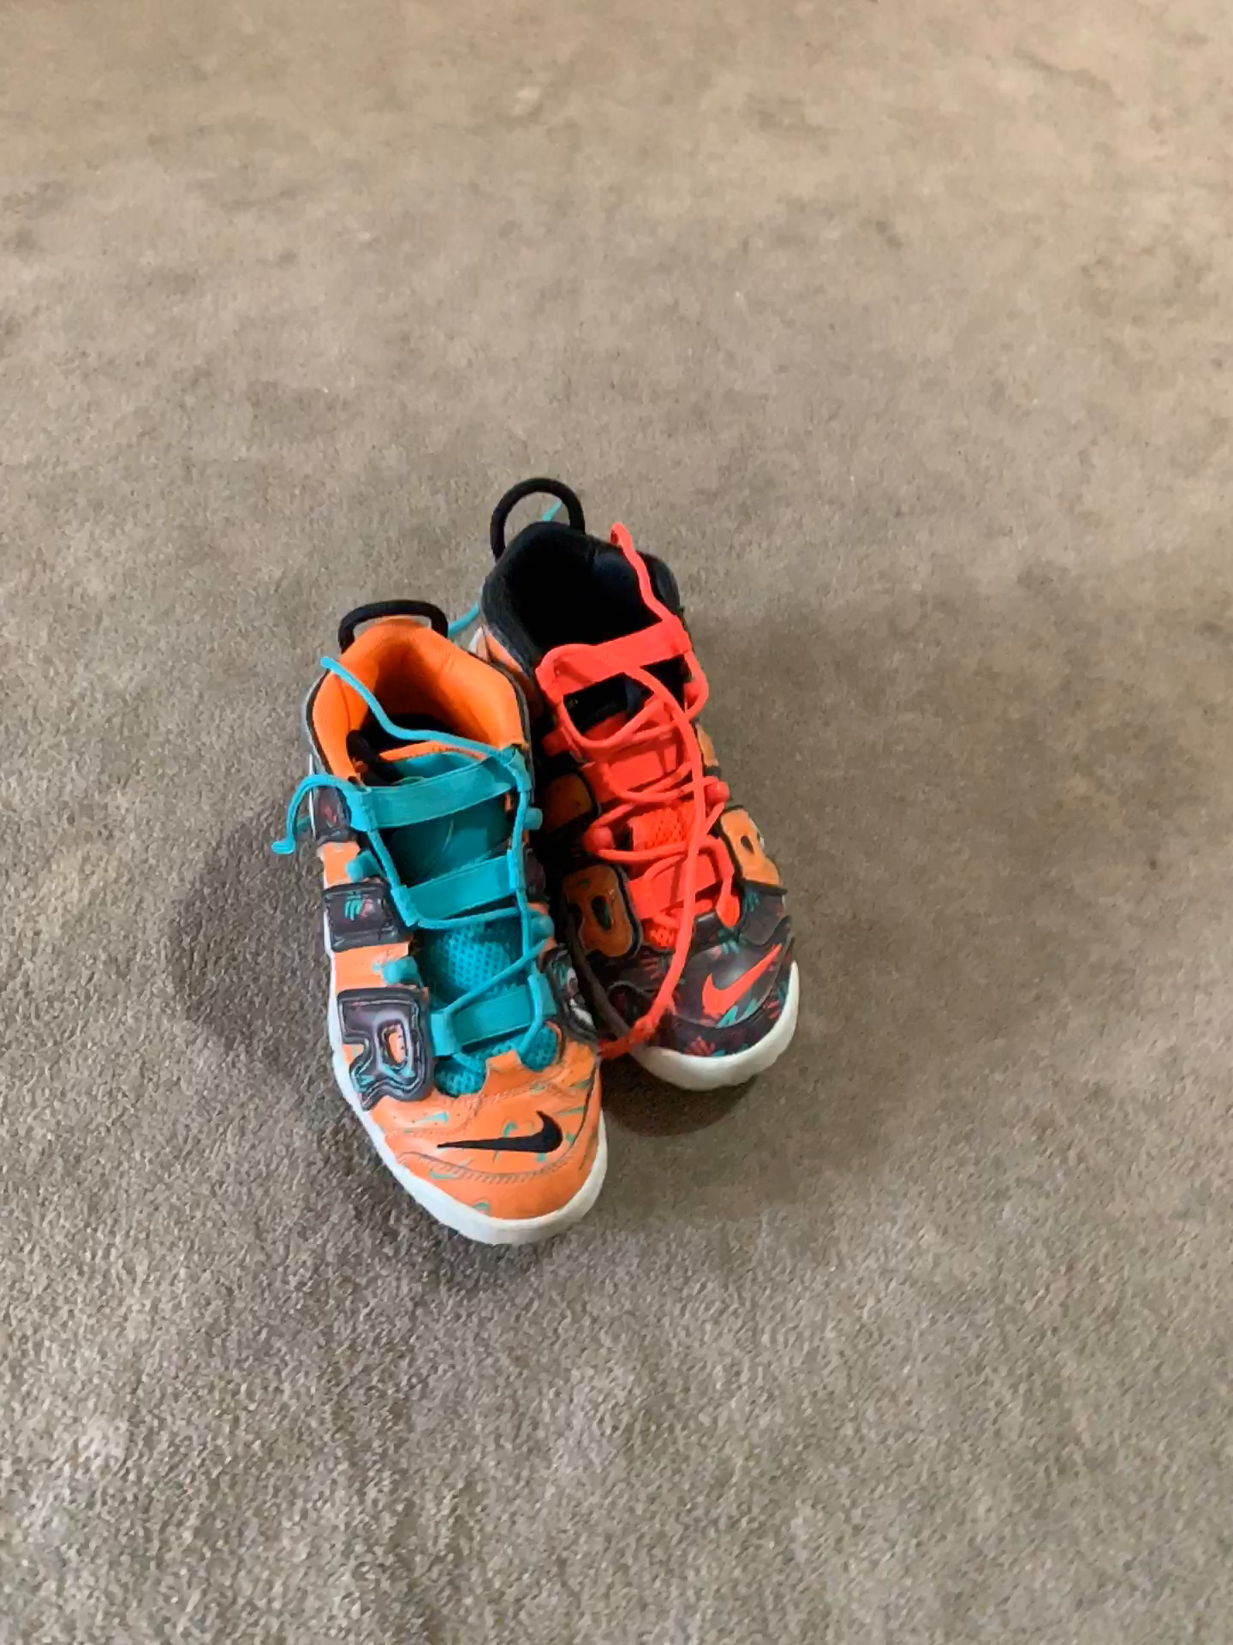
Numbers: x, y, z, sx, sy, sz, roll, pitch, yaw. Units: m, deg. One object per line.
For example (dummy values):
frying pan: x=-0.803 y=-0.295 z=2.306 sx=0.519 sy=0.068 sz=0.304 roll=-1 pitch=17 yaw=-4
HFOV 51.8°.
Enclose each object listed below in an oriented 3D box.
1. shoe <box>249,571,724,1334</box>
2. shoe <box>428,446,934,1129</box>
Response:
shoe: x=-0.055 y=0.044 z=0.473 sx=0.100 sy=0.089 sz=0.251 roll=-14 pitch=68 yaw=-12
shoe: x=0.015 y=-0.014 z=0.508 sx=0.100 sy=0.109 sz=0.231 roll=-20 pitch=69 yaw=-10
